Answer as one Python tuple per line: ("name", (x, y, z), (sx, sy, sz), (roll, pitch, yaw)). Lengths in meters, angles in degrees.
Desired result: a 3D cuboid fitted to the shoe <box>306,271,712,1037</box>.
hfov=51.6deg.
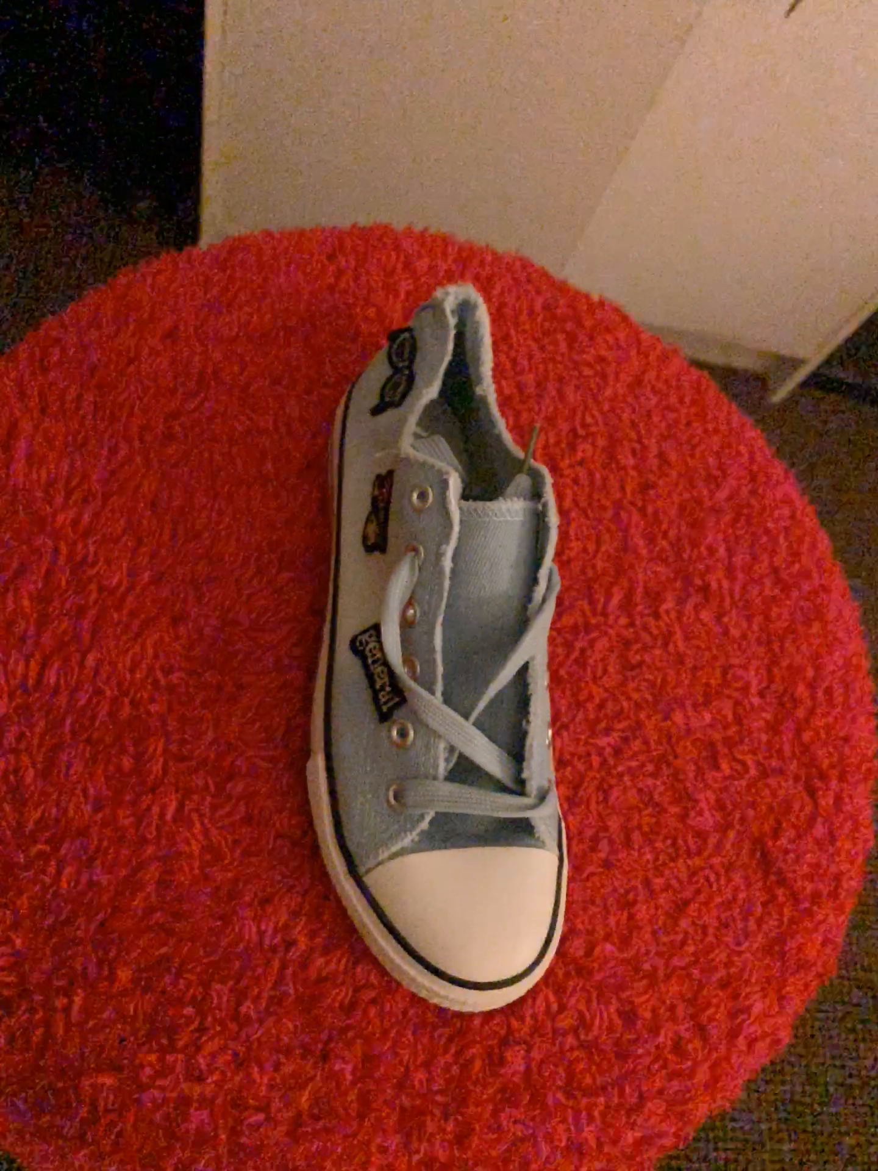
("shoe", (0.009, 0.019, 0.332), (0.097, 0.087, 0.251), (1, 66, -15))
